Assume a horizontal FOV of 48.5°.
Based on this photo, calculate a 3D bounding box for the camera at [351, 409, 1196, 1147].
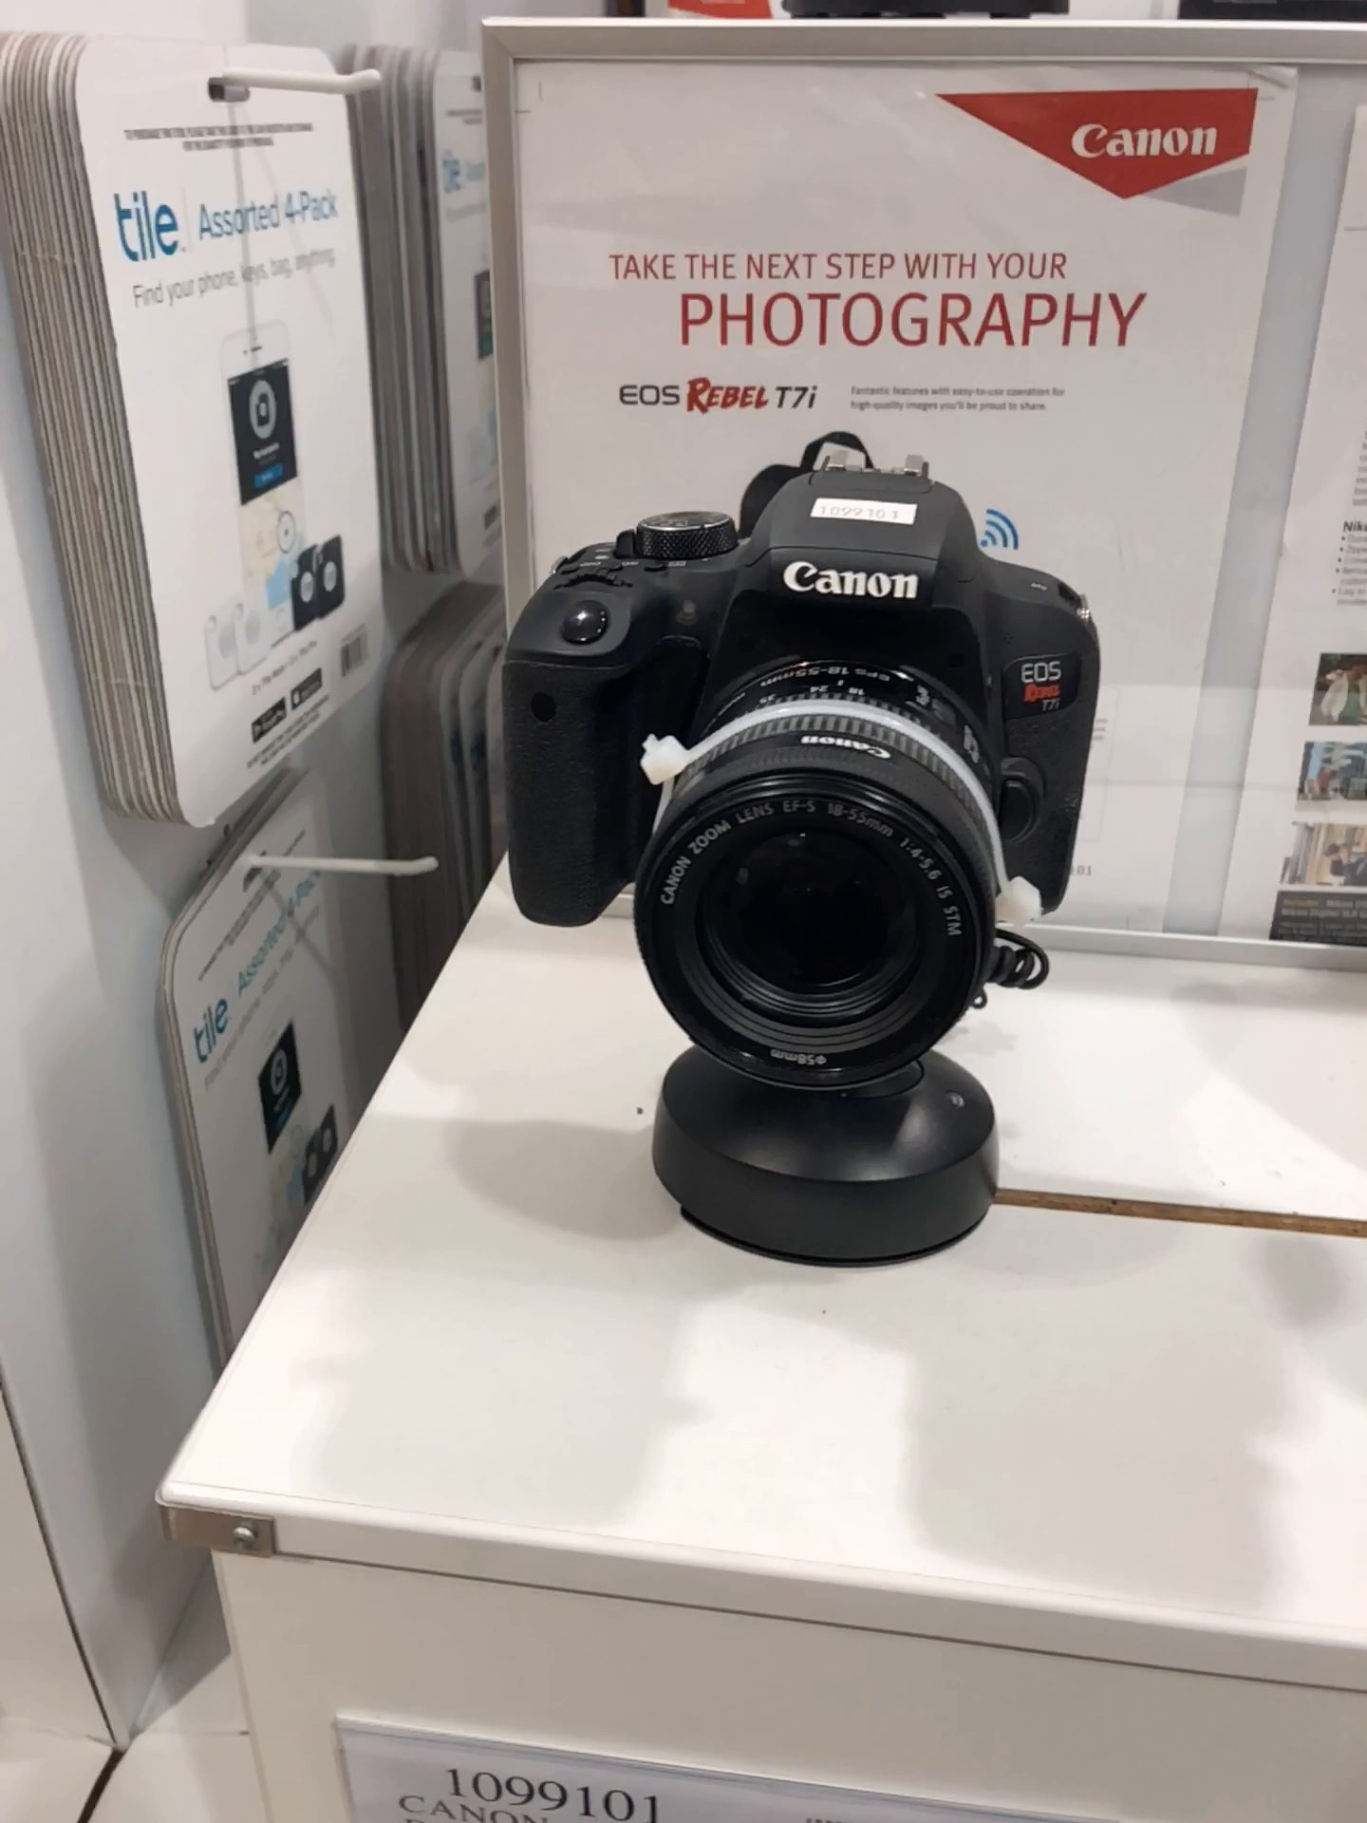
[{"bbox_3d":[0.021,-0.037,0.307,0.130,0.100,0.120,6,28,9],"label":"camera"}]
